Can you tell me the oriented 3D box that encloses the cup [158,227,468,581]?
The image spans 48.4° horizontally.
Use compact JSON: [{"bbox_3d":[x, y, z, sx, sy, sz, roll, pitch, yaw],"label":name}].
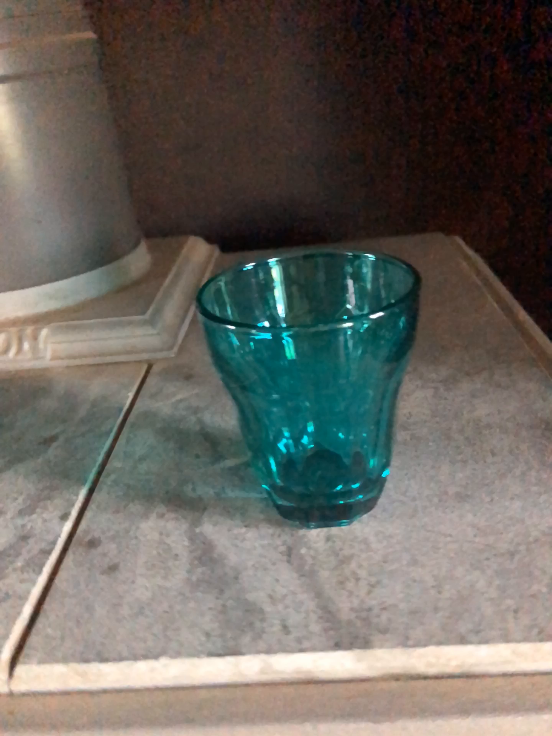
[{"bbox_3d":[0.012,0.005,0.208,0.070,0.080,0.070,-6,27,3],"label":"cup"}]
